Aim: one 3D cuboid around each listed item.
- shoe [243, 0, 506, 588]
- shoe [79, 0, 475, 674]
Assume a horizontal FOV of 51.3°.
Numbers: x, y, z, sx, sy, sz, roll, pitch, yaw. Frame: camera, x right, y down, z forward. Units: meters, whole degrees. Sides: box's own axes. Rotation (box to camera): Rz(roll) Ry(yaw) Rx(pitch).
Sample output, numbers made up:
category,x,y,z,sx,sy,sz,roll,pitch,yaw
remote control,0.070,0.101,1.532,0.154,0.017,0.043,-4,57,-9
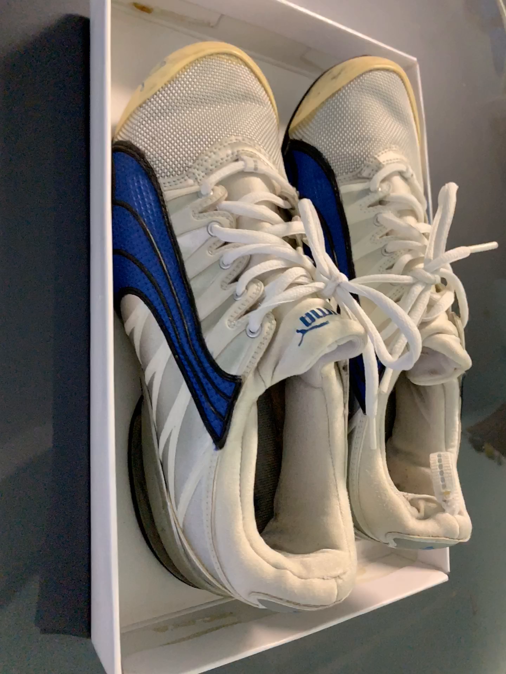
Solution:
category,x,y,z,sx,sy,sz,roll,pitch,yaw
shoe,0.077,-0.032,0.291,0.110,0.089,0.281,2,75,-32
shoe,-0.001,-0.027,0.243,0.110,0.089,0.281,-1,77,-33
